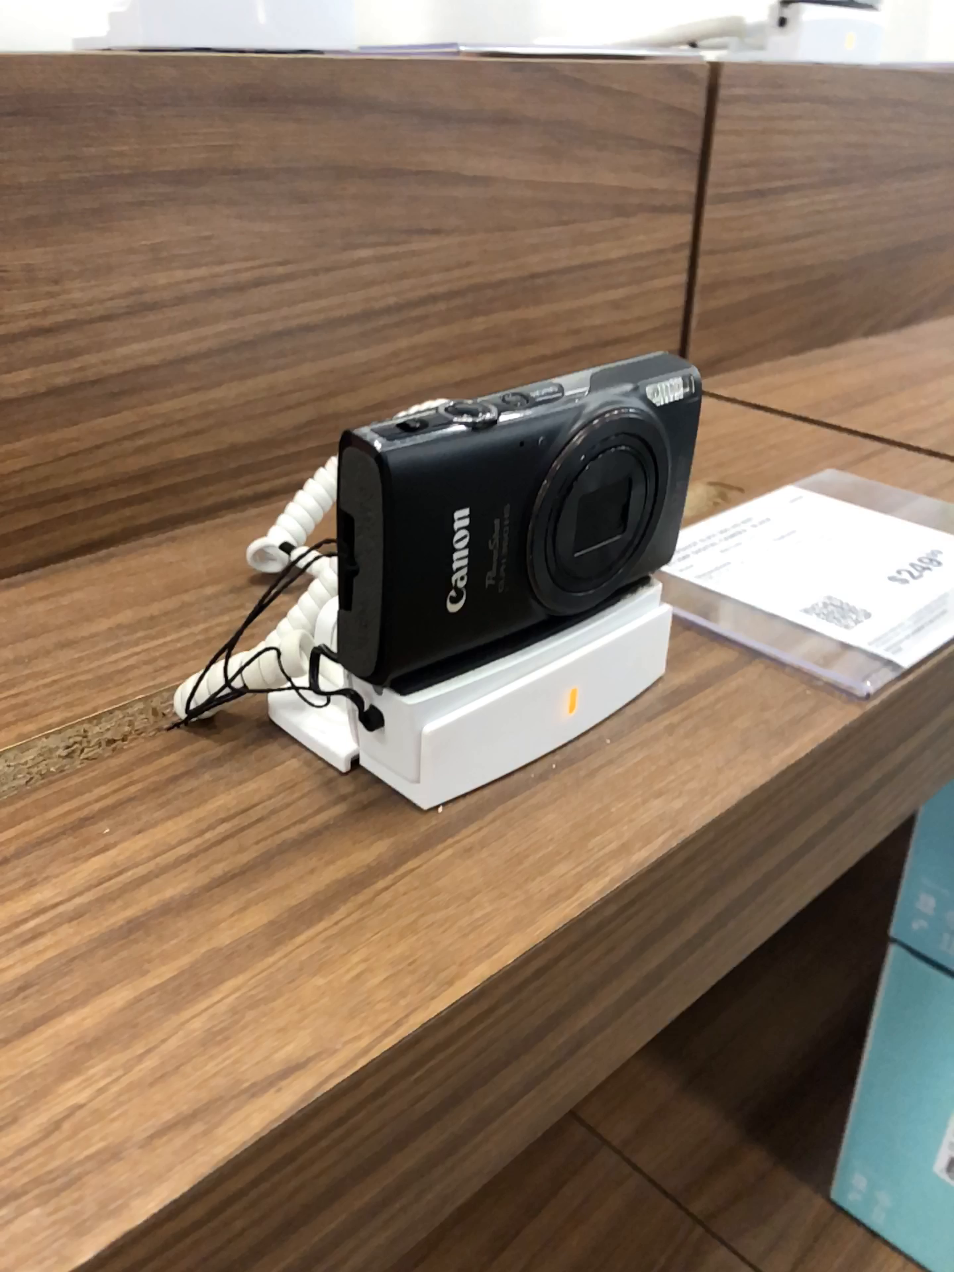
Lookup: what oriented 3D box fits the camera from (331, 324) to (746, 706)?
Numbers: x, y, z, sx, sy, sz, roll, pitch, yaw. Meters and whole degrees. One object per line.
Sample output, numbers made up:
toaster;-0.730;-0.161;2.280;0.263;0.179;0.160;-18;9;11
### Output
camera;0.017;-0.032;0.244;0.110;0.060;0.020;-23;40;-39
